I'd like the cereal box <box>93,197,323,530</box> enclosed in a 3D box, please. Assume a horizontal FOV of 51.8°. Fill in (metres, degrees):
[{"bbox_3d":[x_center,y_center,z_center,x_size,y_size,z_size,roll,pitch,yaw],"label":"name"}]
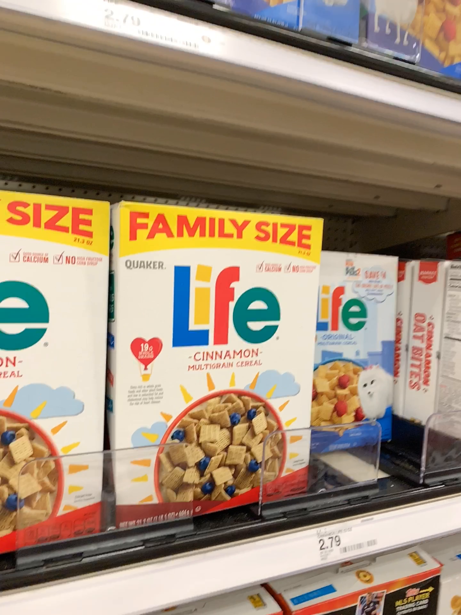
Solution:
[{"bbox_3d":[-0.022,0.043,0.435,0.190,0.260,0.070,0,5,-23],"label":"cereal box"}]
